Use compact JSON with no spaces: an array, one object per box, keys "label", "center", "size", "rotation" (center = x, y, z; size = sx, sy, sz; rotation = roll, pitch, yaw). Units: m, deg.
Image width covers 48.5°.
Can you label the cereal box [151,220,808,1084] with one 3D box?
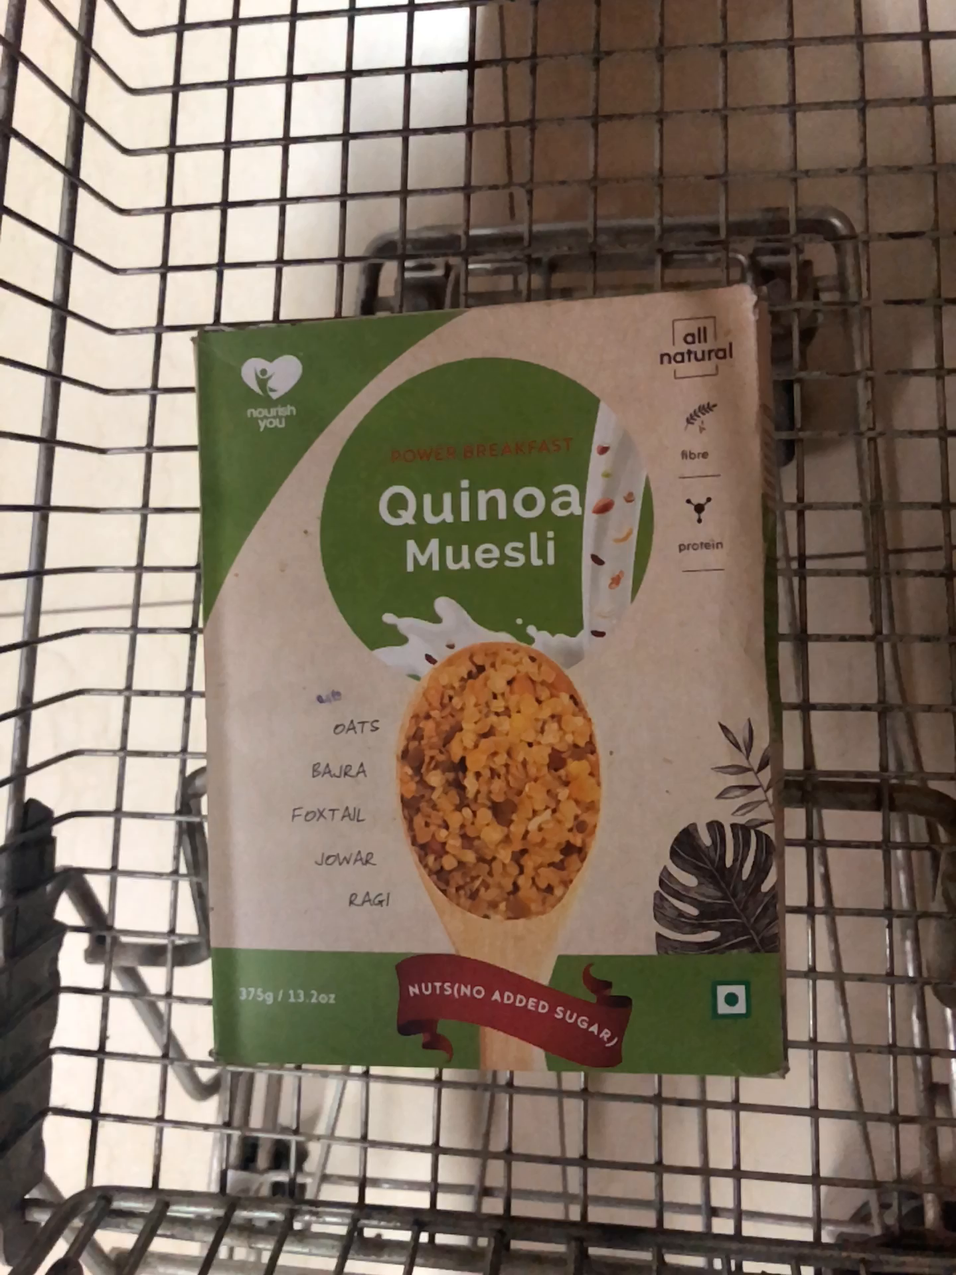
[{"label":"cereal box","center":[0.000,0.006,0.297],"size":[0.160,0.060,0.210],"rotation":[-2,89,7]}]
